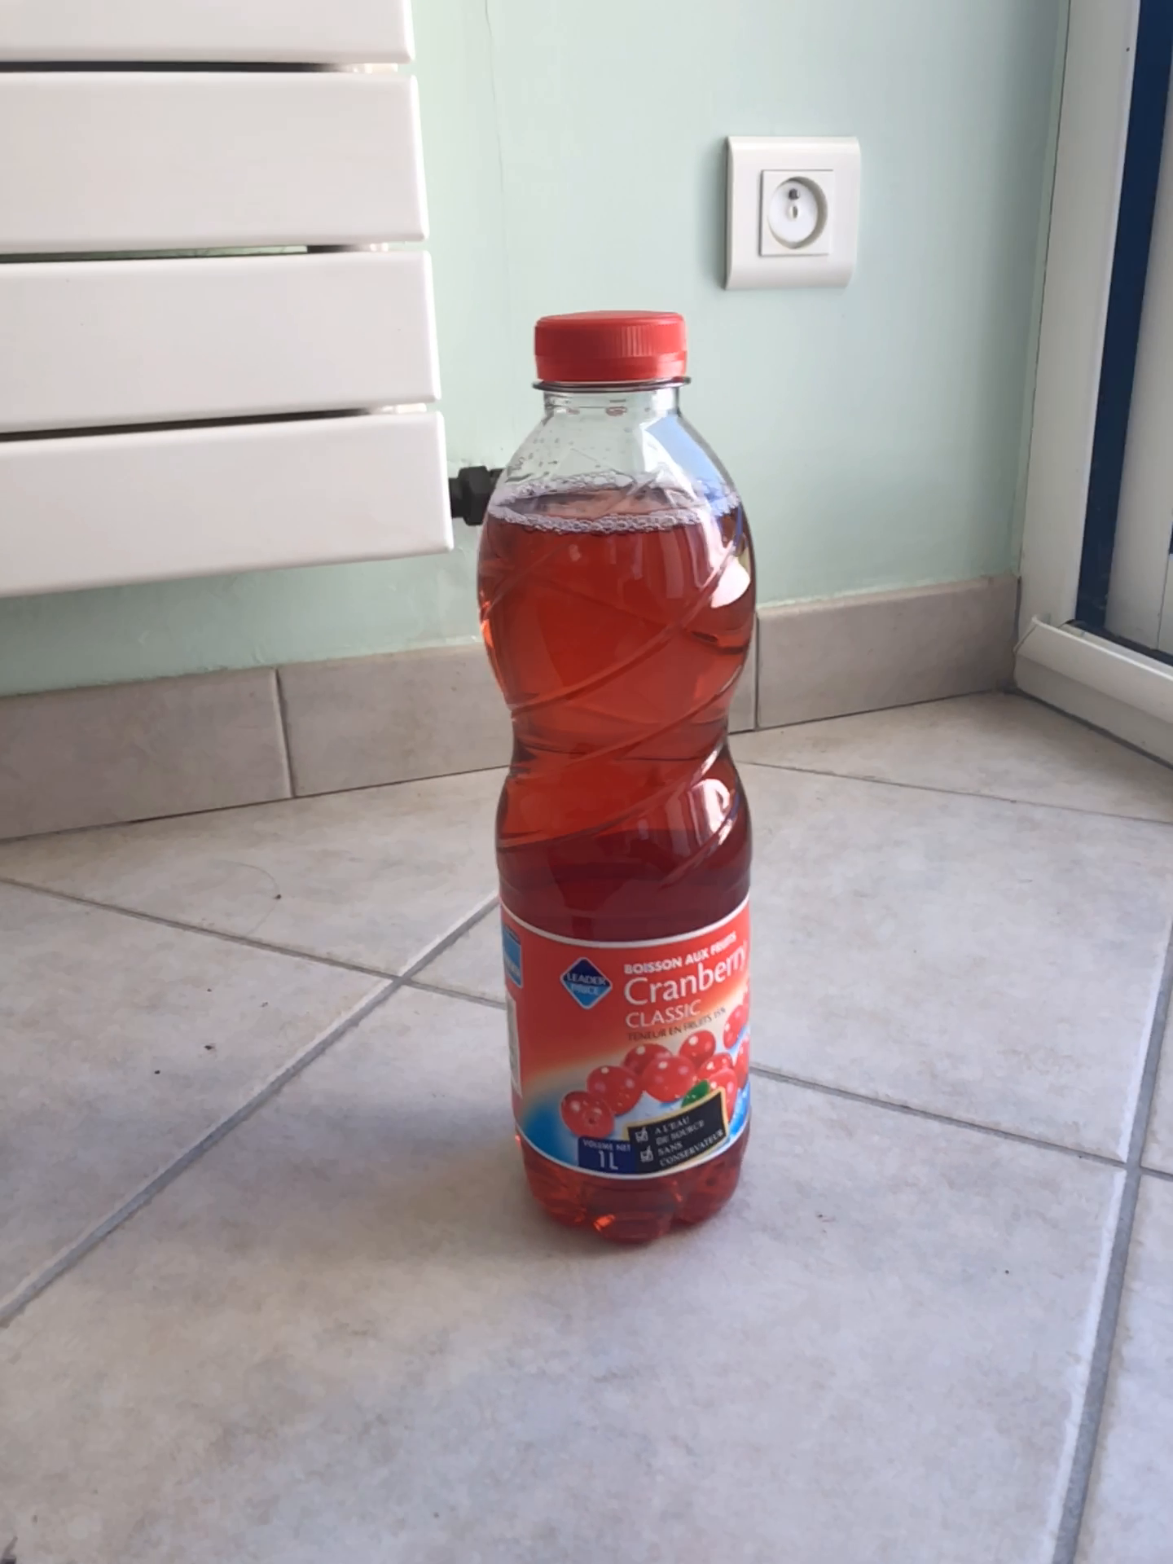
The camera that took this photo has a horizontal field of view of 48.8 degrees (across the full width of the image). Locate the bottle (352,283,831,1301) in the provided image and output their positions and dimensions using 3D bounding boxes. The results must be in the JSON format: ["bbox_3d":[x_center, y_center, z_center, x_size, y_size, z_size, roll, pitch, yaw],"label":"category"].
[{"bbox_3d":[0.002,0.001,0.360,0.090,0.259,0.080,-12,24,-23],"label":"bottle"}]
